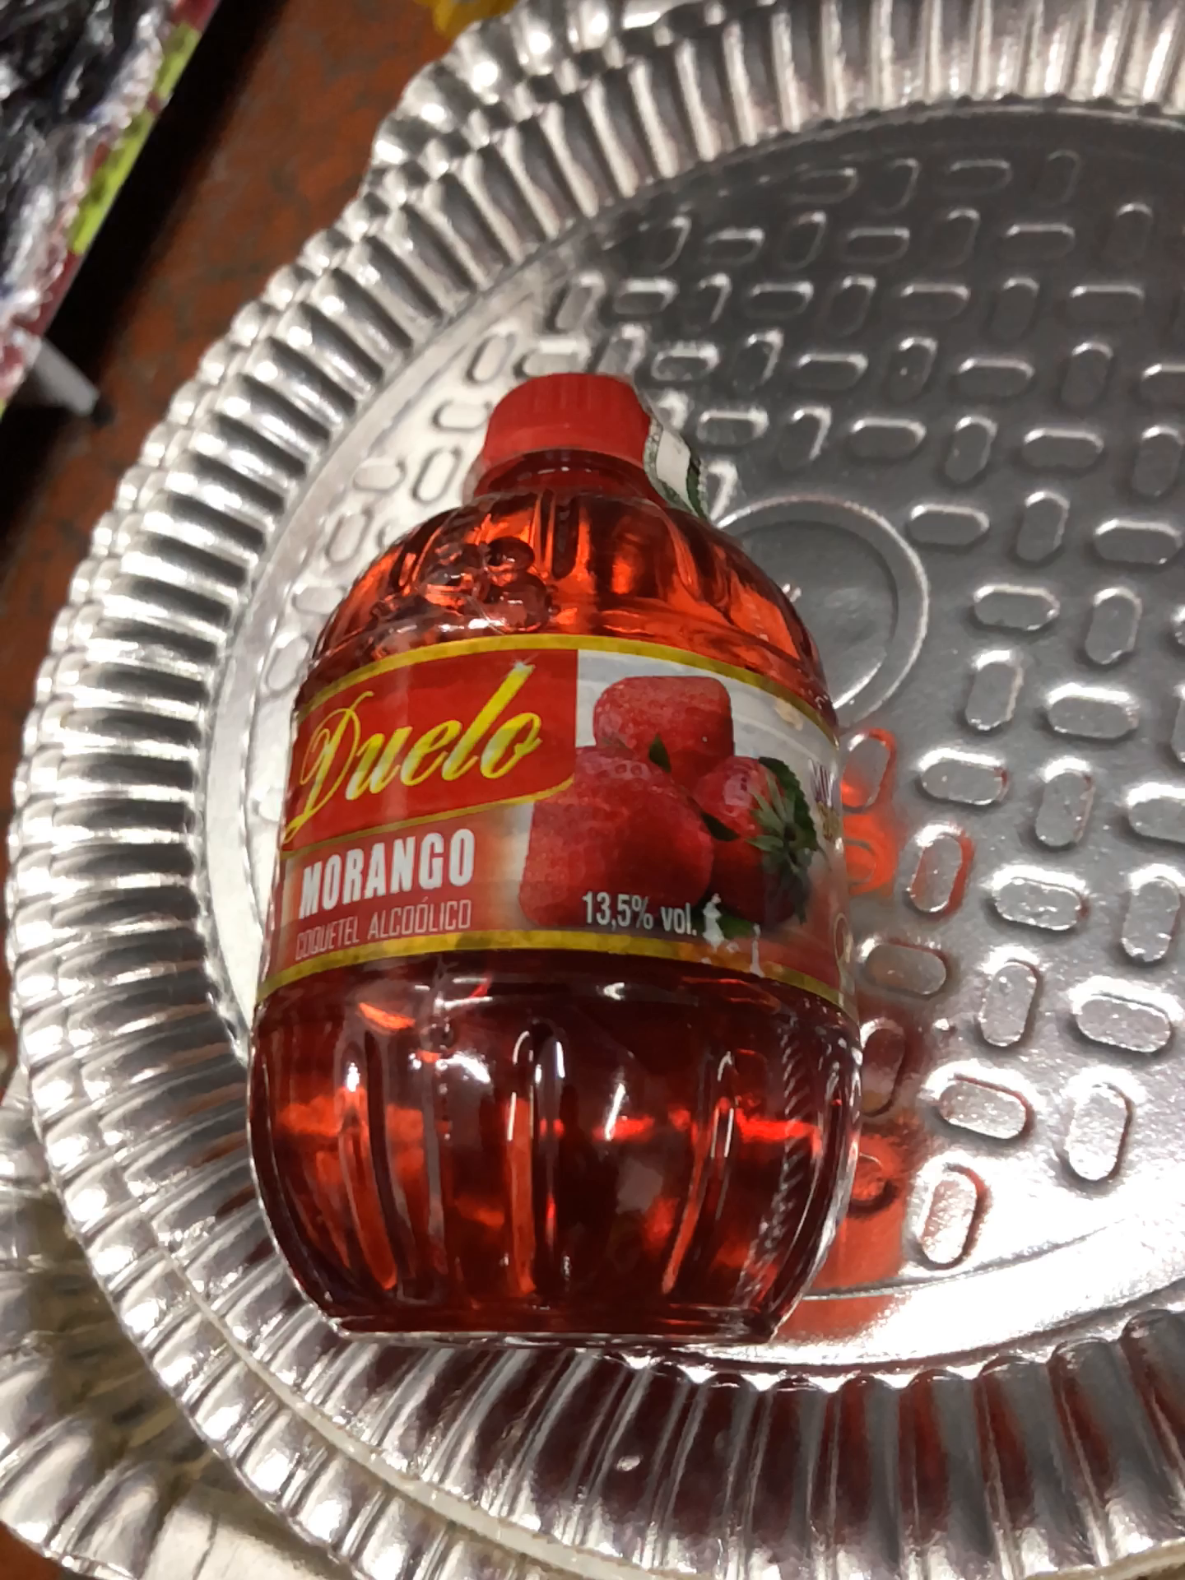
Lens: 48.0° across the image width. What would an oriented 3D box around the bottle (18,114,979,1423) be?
[{"bbox_3d":[-0.005,0.002,0.185,0.090,0.070,0.150,-9,65,21],"label":"bottle"}]
